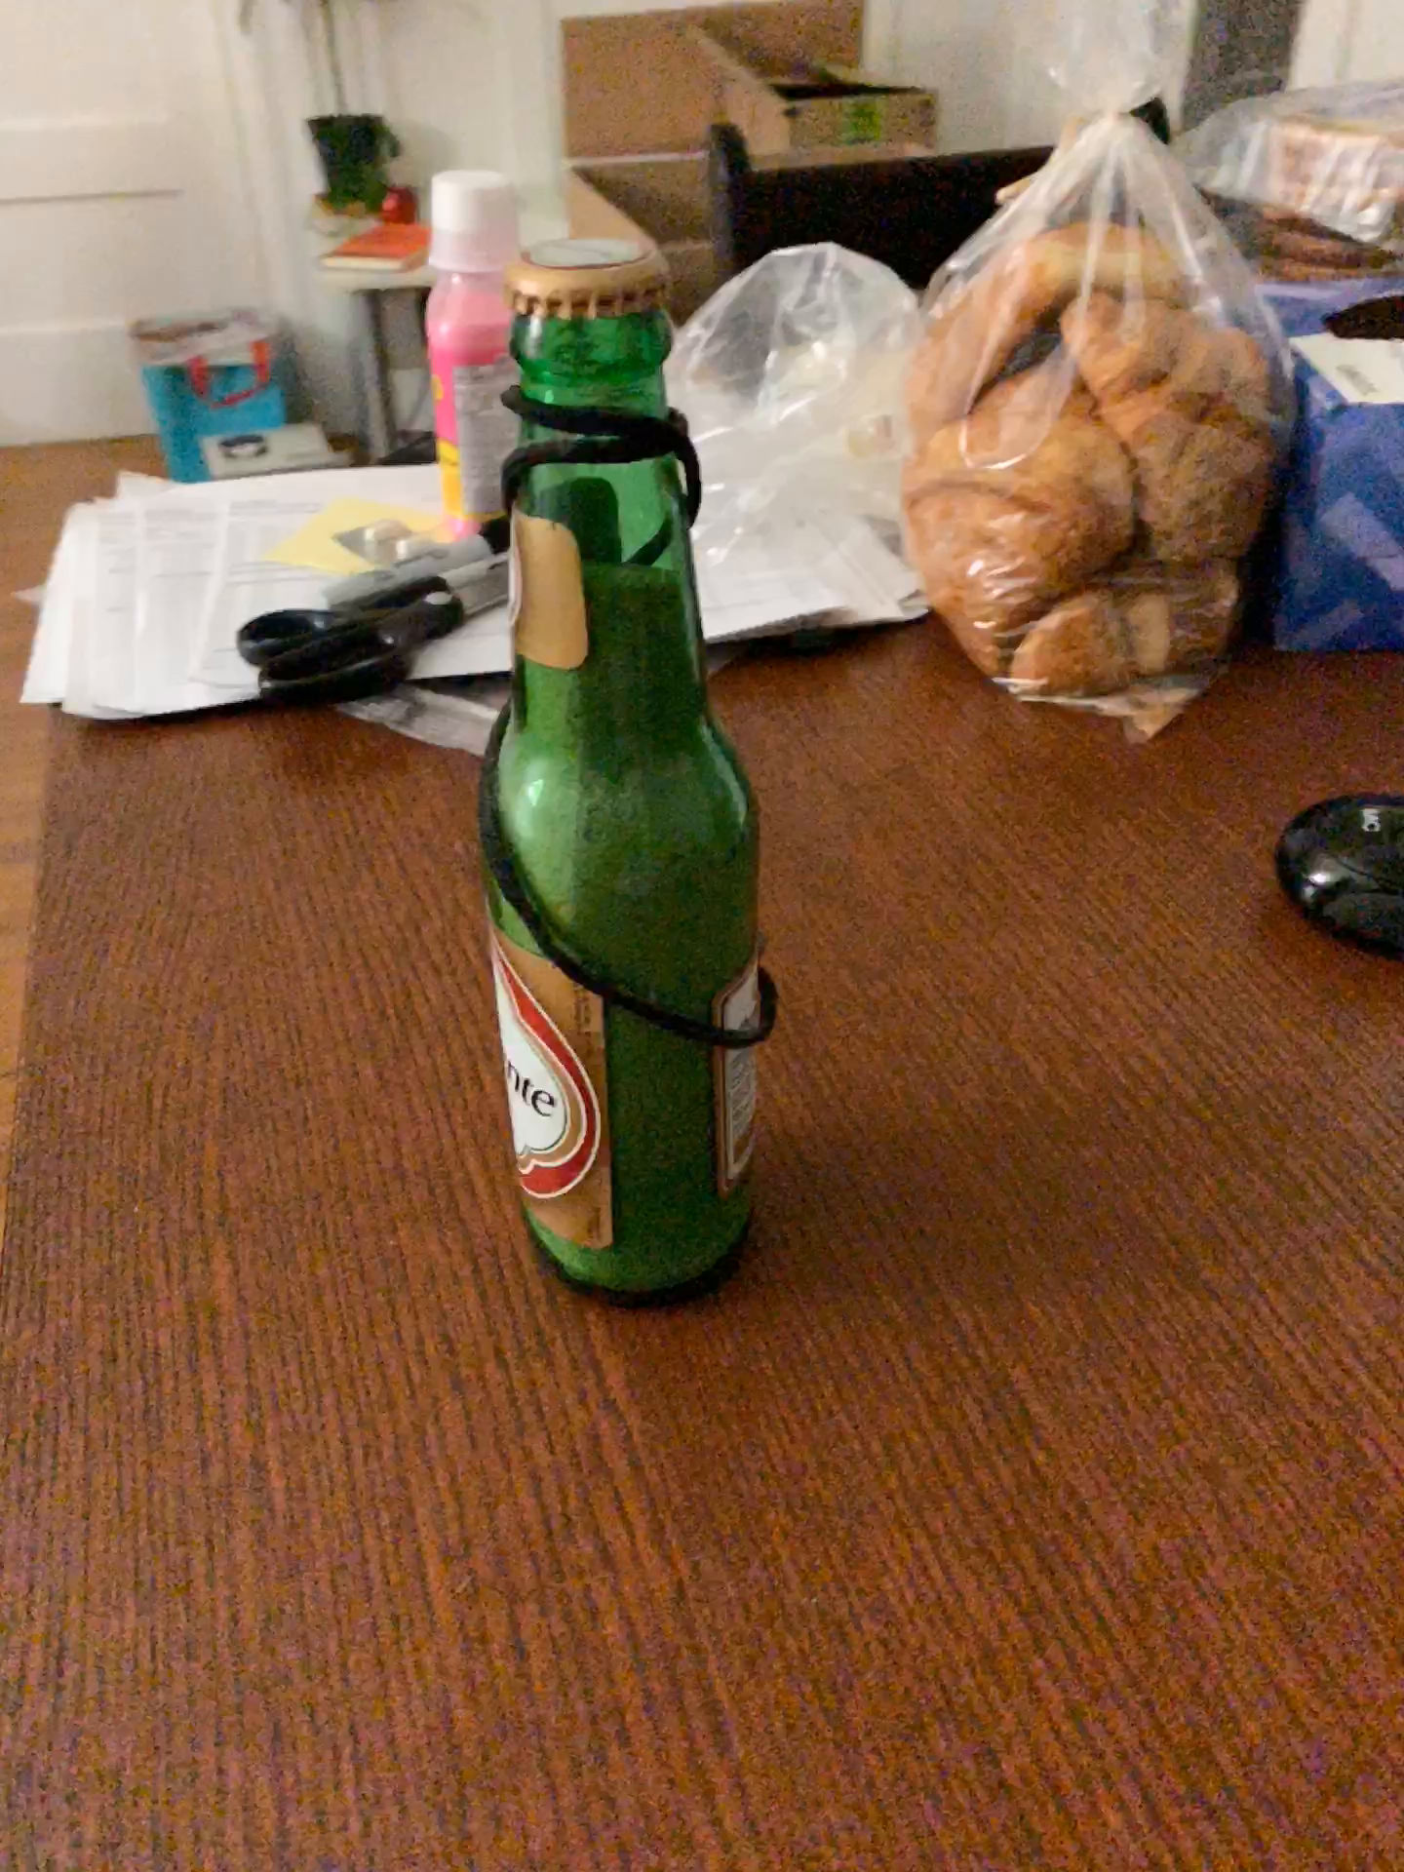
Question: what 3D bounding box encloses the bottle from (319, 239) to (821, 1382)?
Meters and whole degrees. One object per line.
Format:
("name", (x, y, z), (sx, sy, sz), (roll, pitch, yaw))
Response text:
("bottle", (-0.016, -0.013, 0.317), (0.070, 0.239, 0.080), (4, 38, 6))
